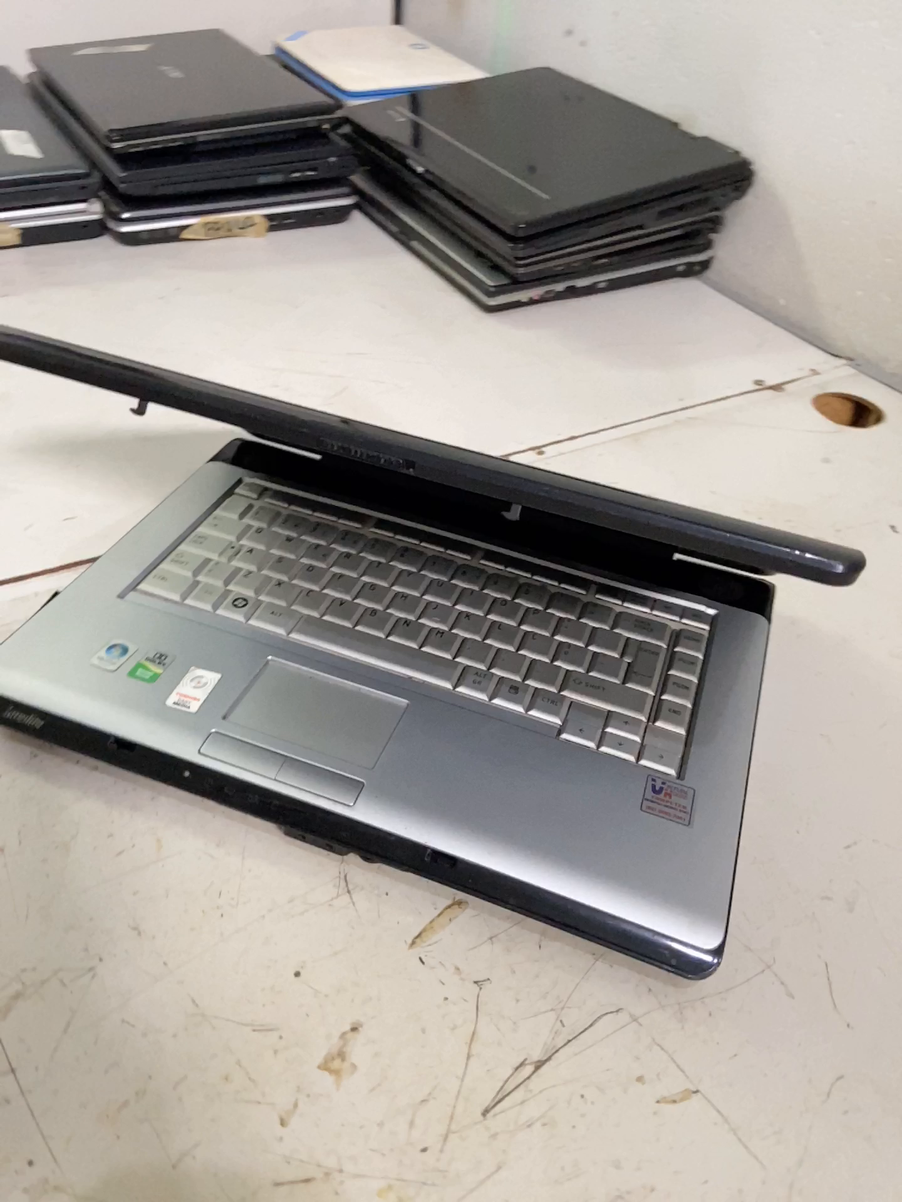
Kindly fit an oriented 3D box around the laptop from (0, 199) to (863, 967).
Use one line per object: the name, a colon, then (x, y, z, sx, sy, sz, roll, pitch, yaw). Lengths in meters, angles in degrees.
laptop: (-0.017, -0.042, 0.433, 0.346, 0.152, 0.259, 17, 42, 12)
